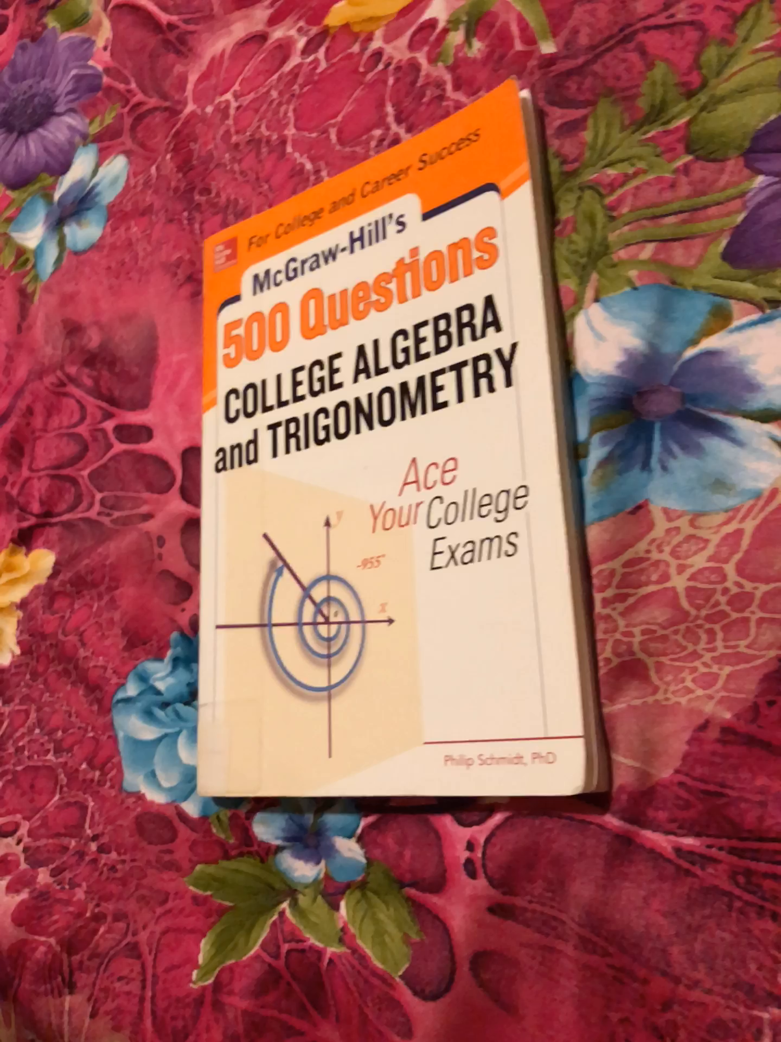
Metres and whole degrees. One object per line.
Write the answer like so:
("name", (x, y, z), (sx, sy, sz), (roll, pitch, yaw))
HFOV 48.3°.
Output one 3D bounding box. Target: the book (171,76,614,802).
("book", (-0.012, -0.020, 0.303), (0.157, 0.022, 0.220), (-11, 74, 33))
